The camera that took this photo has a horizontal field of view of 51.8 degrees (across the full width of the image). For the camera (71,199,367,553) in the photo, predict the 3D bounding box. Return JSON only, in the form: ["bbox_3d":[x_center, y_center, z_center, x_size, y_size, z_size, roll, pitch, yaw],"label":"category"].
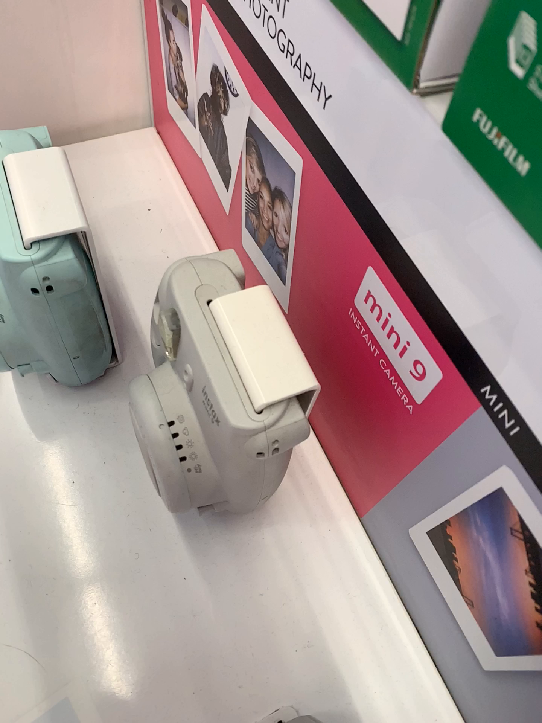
[{"bbox_3d":[-0.029,0.011,0.263,0.080,0.109,0.111,-18,65,-16],"label":"camera"}]
